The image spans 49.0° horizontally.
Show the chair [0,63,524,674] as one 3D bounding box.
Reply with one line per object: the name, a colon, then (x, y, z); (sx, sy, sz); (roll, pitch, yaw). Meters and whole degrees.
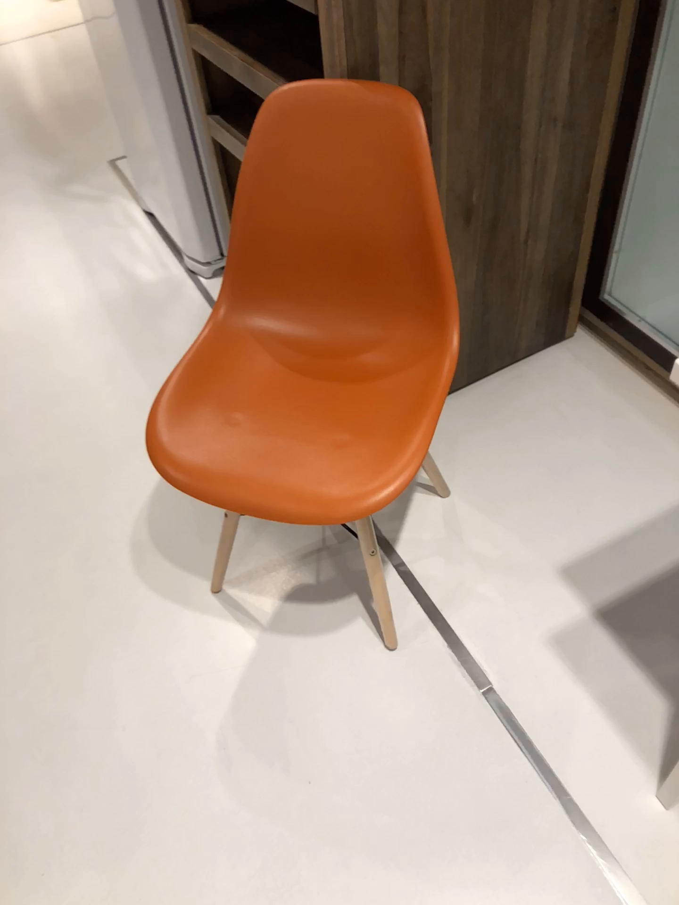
chair: (-0.035, -0.131, 1.253); (0.490, 0.745, 0.583); (13, 51, 18)
